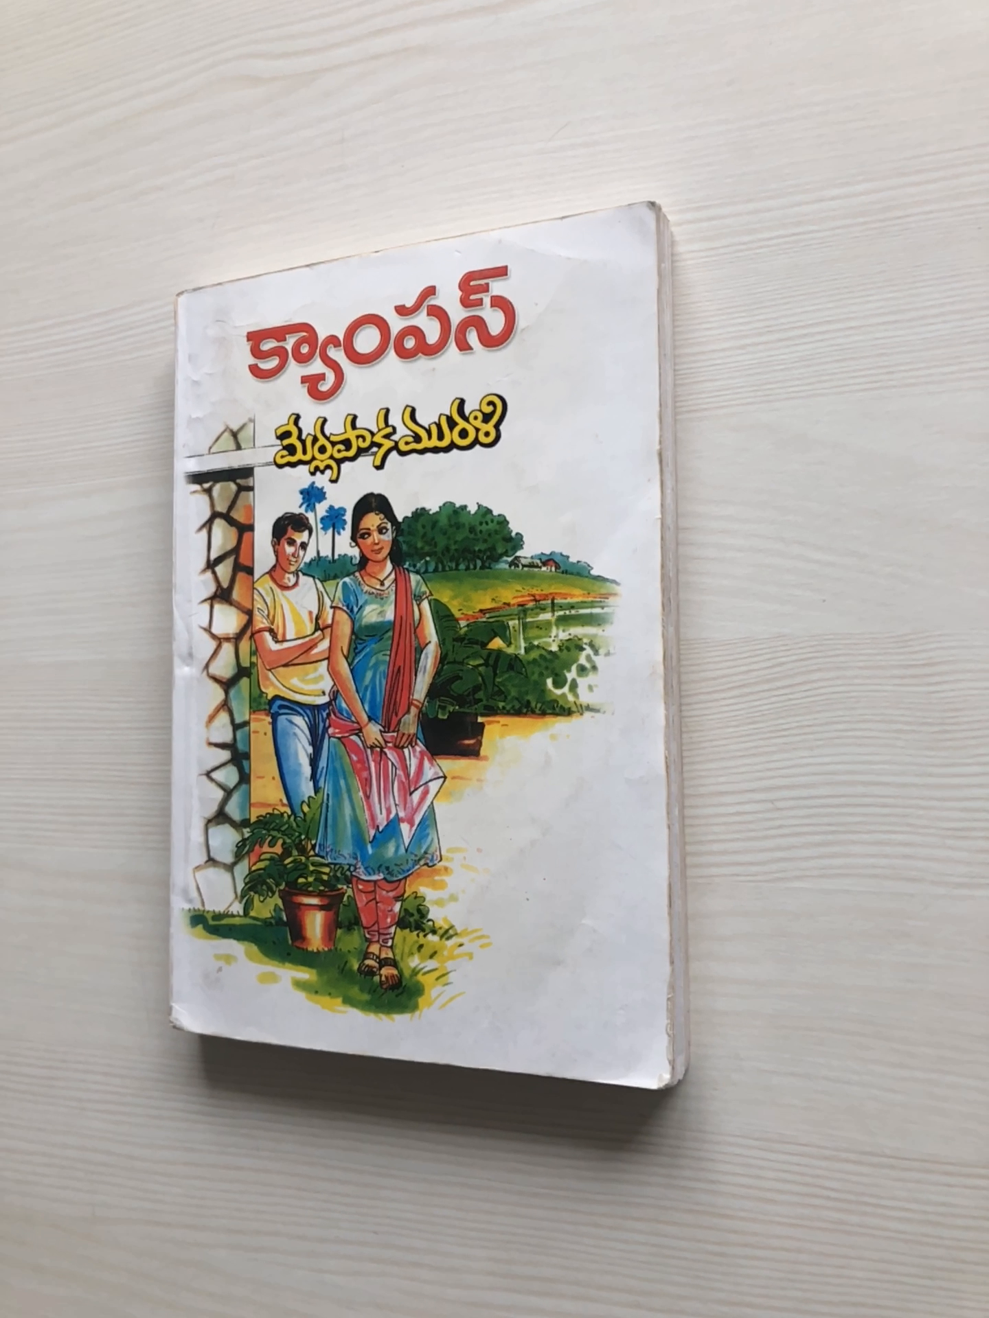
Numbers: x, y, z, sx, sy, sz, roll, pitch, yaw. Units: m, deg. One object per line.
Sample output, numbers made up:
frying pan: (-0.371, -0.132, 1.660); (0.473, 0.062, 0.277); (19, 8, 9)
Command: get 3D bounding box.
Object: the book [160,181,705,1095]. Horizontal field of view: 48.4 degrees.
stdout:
book: (-0.017, -0.004, 0.225); (0.113, 0.016, 0.163); (-2, 86, 22)
